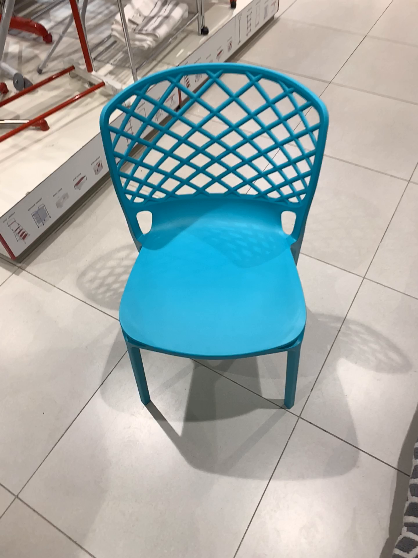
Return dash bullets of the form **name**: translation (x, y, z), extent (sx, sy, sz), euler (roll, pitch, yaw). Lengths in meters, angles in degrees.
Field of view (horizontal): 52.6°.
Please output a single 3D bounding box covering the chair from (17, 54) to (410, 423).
- **chair**: translation (0.027, -0.030, 1.077), extent (0.560, 0.798, 0.521), euler (0, 53, 3)
